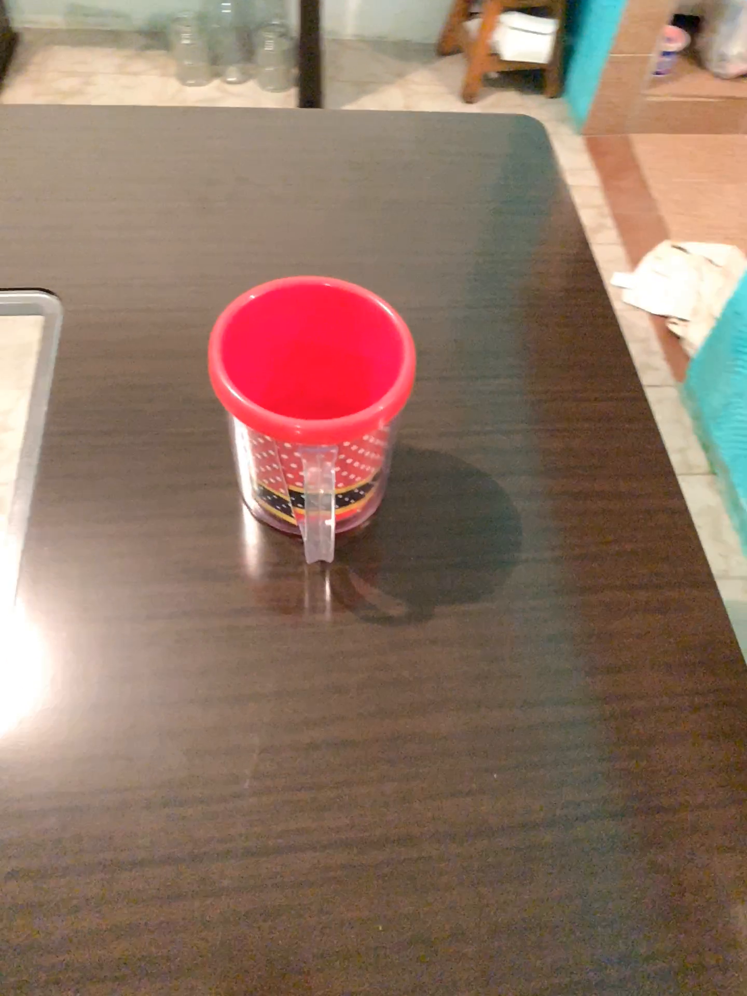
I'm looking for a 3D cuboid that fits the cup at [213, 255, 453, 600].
[{"bbox_3d":[-0.025,-0.033,0.374,0.090,0.110,0.120,-5,57,-7],"label":"cup"}]
